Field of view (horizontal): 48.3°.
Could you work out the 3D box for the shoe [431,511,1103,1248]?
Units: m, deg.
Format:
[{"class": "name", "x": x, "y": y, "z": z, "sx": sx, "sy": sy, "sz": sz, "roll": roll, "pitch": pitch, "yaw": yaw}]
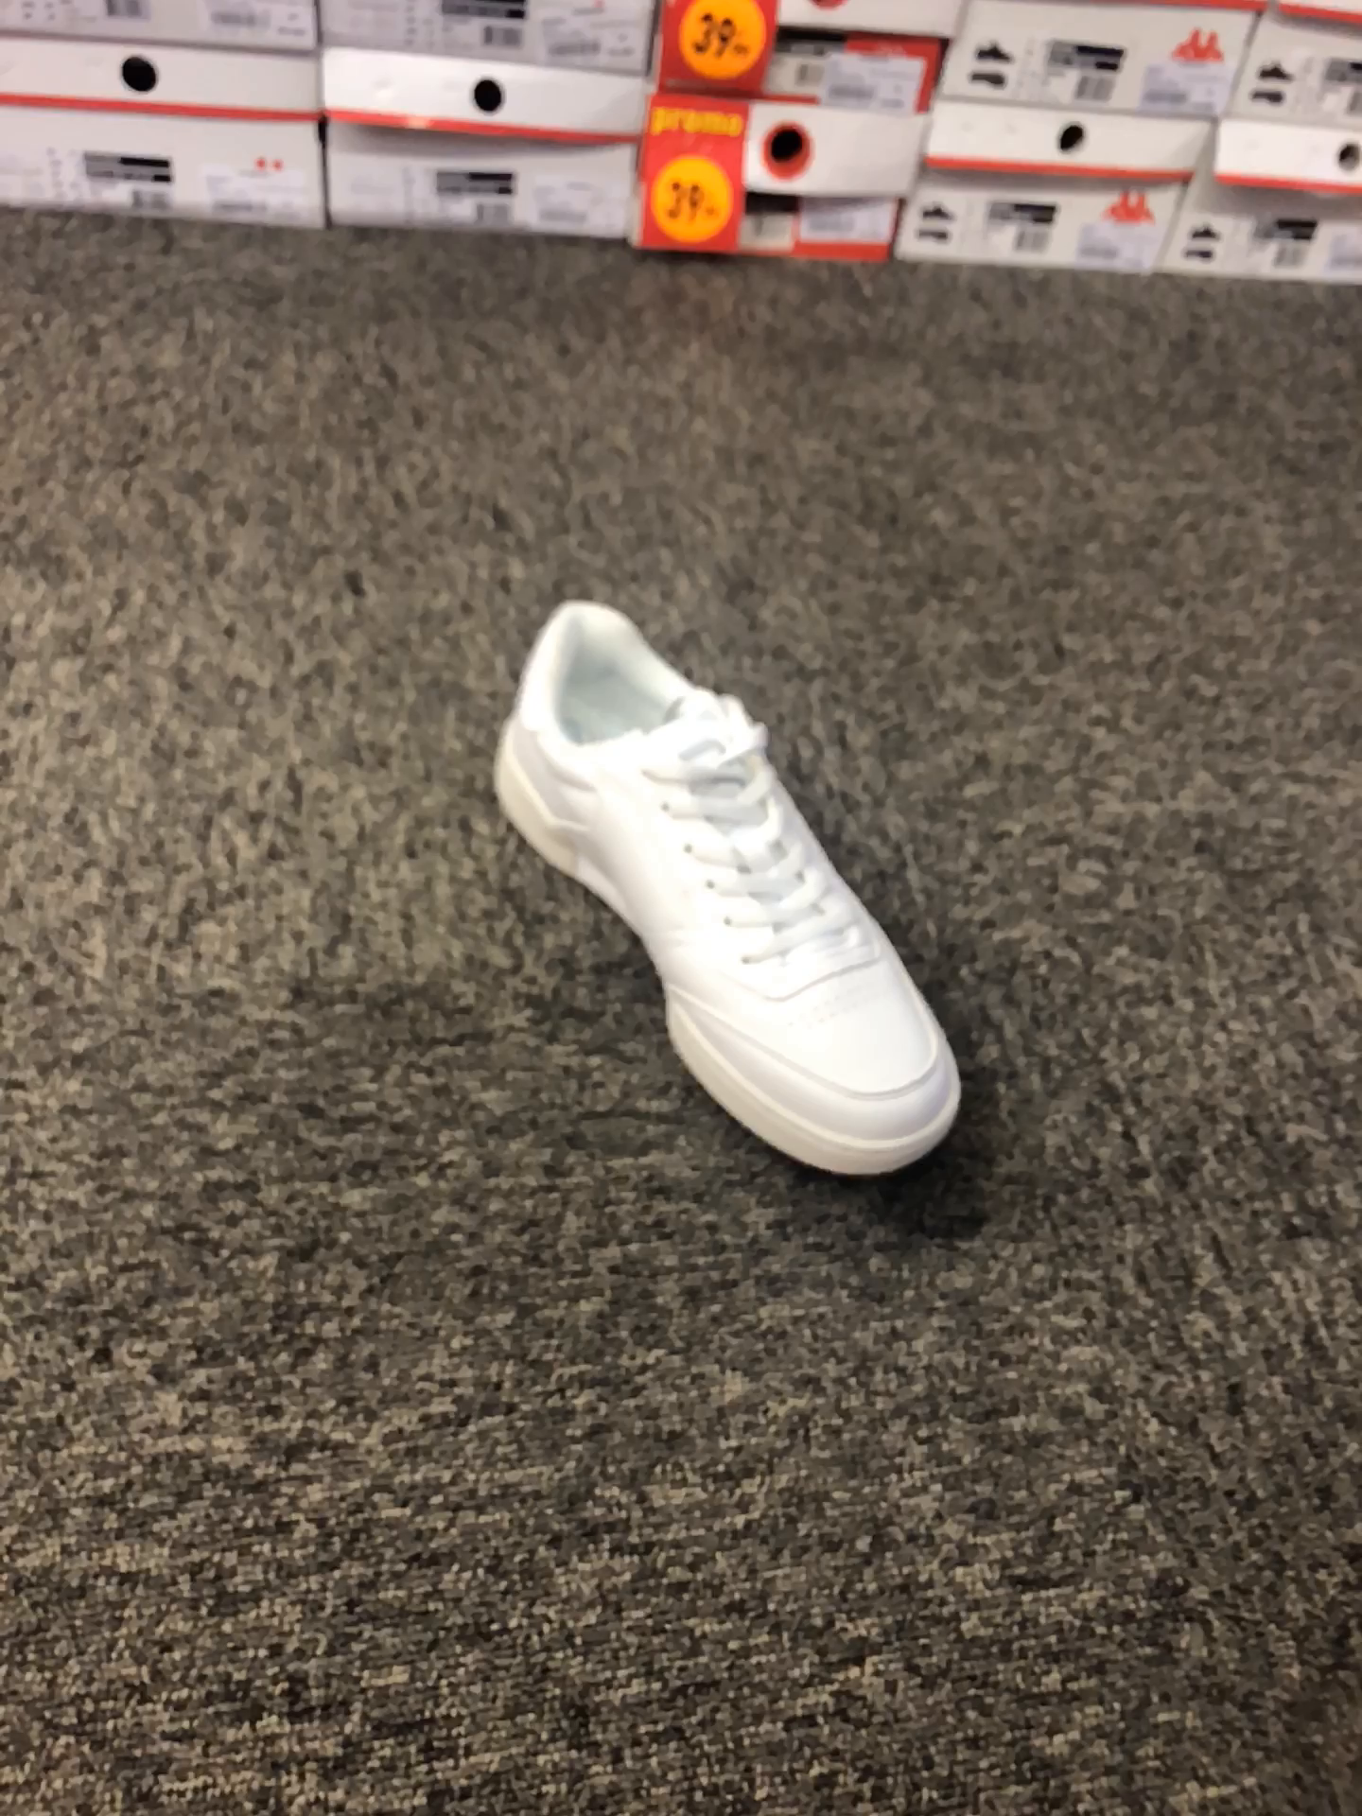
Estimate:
[{"class": "shoe", "x": 0.015, "y": -0.023, "z": 0.552, "sx": 0.100, "sy": 0.089, "sz": 0.260, "roll": -22, "pitch": 57, "yaw": -27}]
